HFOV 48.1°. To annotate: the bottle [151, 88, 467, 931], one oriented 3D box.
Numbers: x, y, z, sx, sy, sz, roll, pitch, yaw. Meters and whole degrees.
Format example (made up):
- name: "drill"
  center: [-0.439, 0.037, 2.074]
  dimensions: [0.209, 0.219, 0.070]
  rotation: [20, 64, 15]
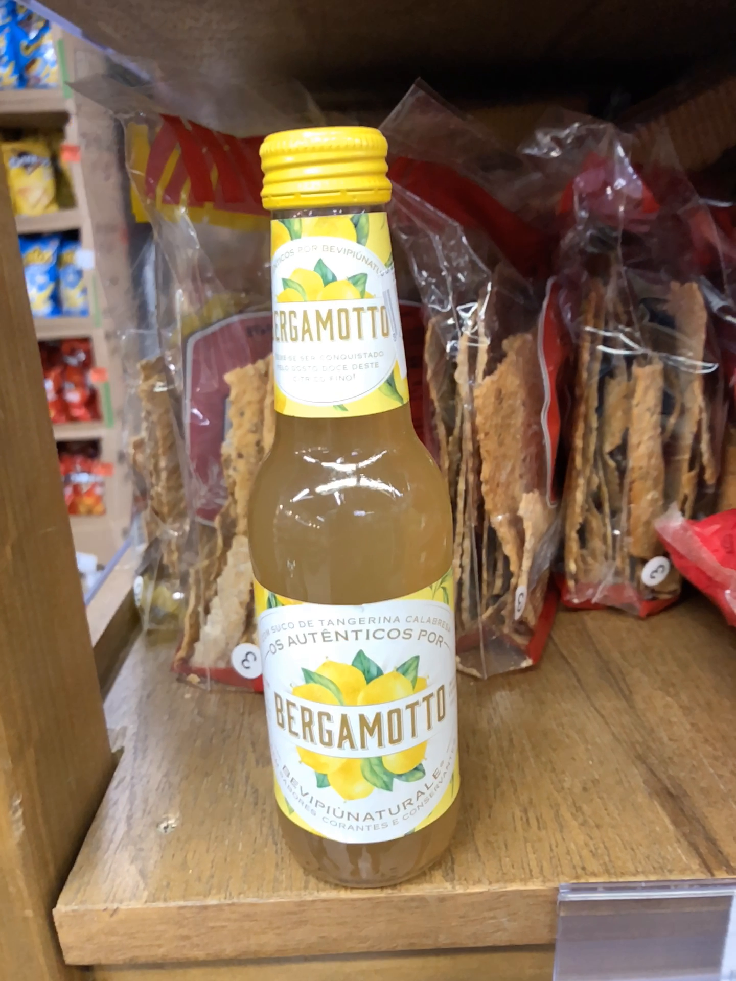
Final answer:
- name: "bottle"
  center: [-0.009, 0.010, 0.216]
  dimensions: [0.060, 0.199, 0.060]
  rotation: [-2, 17, 1]
